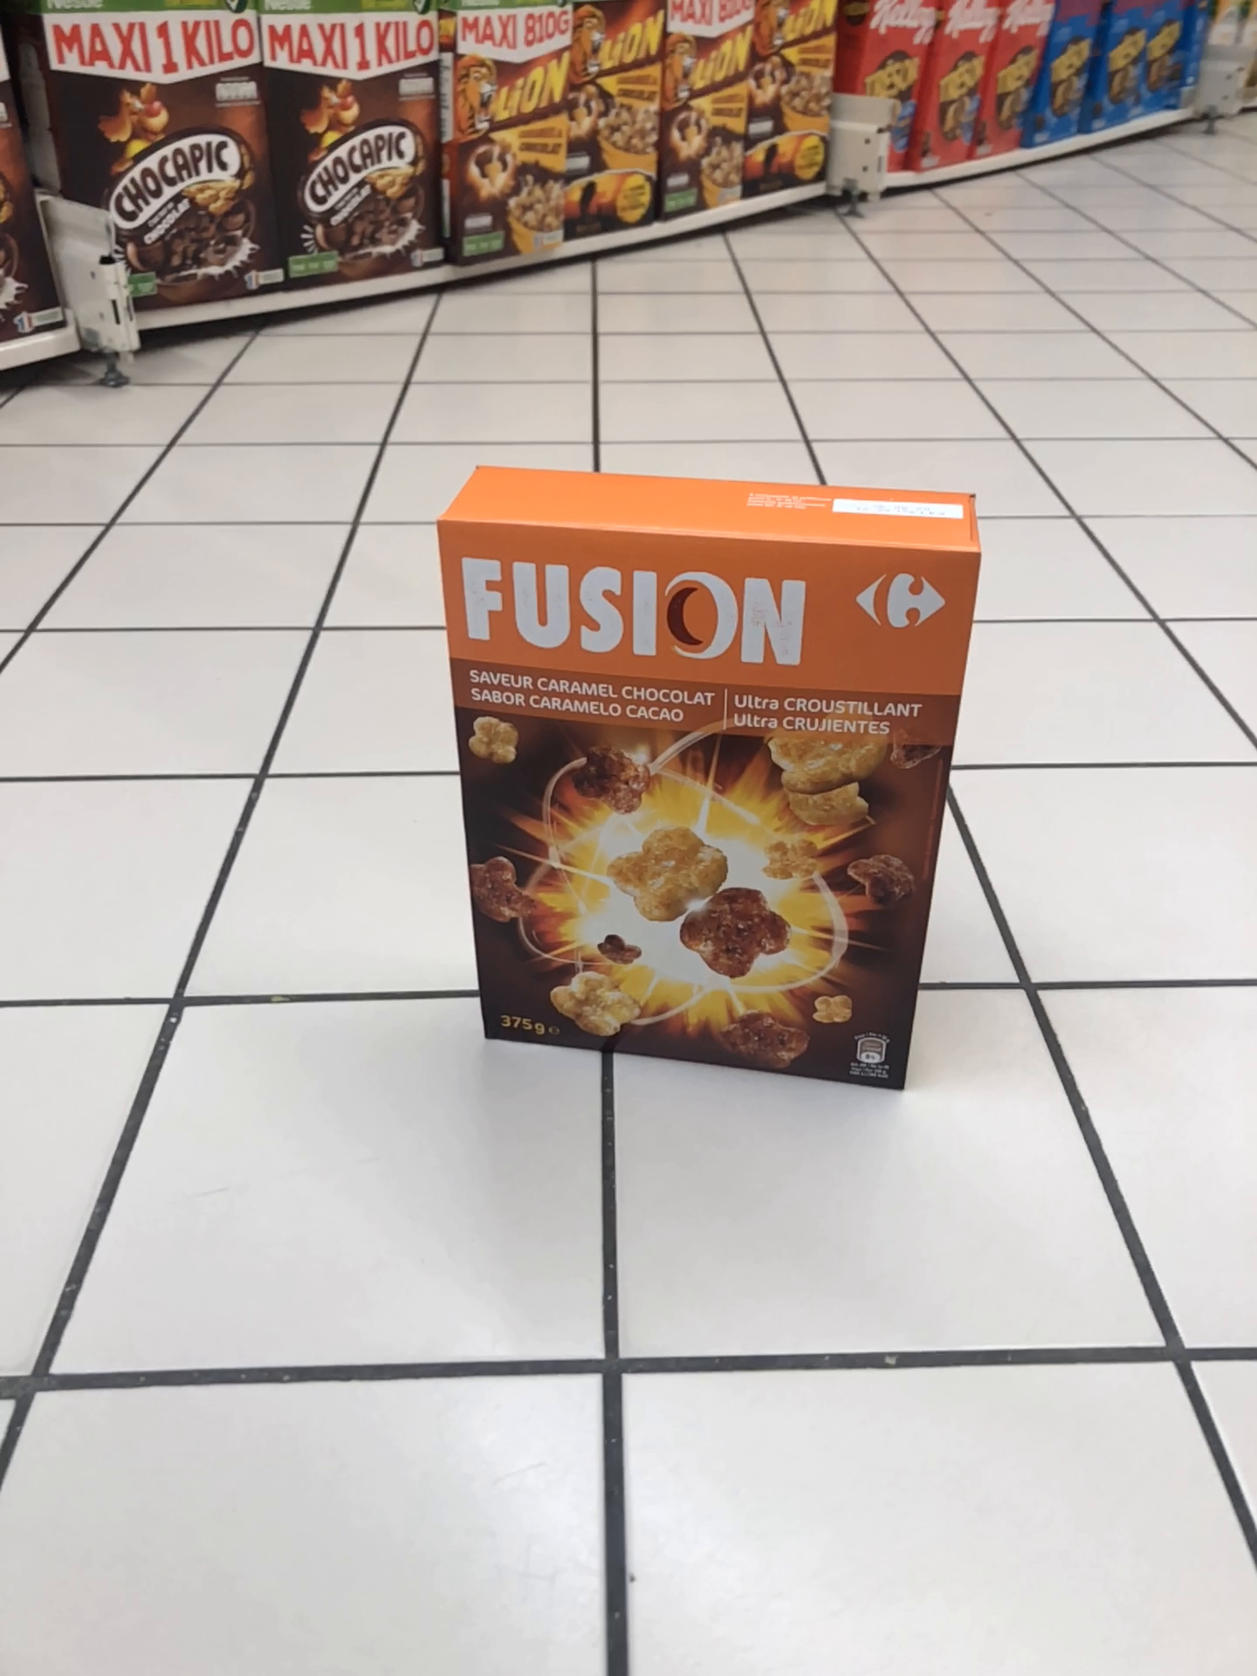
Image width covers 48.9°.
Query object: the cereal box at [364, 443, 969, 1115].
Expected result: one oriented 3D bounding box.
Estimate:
[{"bbox_3d":[0.017,-0.017,0.549,0.200,0.248,0.070,6,35,9],"label":"cereal box"}]
